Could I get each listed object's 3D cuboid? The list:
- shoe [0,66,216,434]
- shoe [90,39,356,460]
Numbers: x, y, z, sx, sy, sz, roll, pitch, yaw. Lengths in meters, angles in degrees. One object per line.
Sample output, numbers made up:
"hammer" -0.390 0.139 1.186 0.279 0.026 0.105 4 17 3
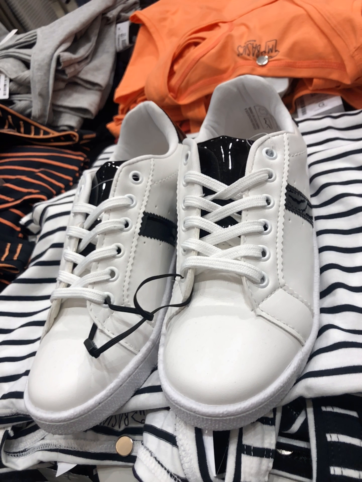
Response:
"shoe" -0.045 -0.009 0.254 0.080 0.080 0.211 0 53 22
"shoe" 0.041 -0.011 0.224 0.090 0.080 0.211 -1 52 20
